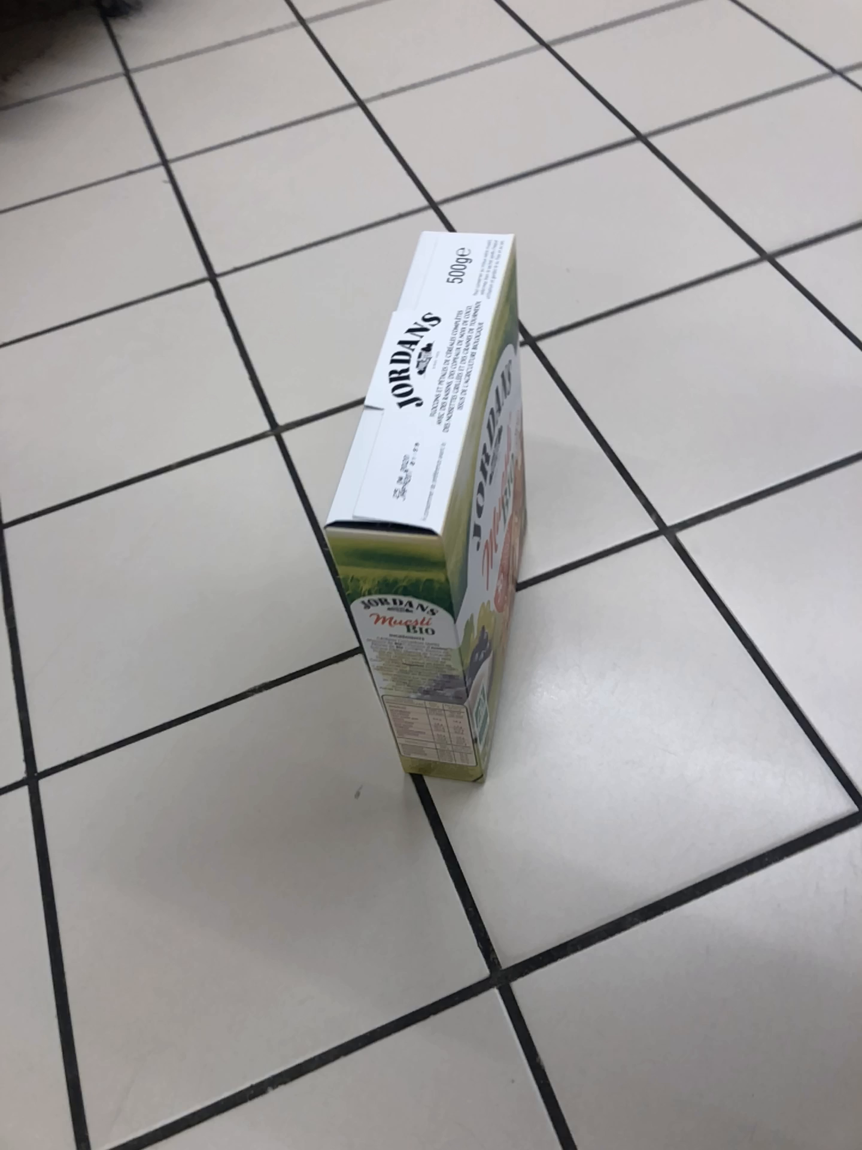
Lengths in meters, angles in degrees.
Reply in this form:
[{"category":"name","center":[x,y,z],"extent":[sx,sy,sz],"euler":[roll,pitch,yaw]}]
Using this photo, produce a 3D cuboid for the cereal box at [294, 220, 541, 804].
[{"category":"cereal box","center":[0.011,-0.024,0.463],"extent":[0.060,0.209,0.191],"euler":[5,54,11]}]
